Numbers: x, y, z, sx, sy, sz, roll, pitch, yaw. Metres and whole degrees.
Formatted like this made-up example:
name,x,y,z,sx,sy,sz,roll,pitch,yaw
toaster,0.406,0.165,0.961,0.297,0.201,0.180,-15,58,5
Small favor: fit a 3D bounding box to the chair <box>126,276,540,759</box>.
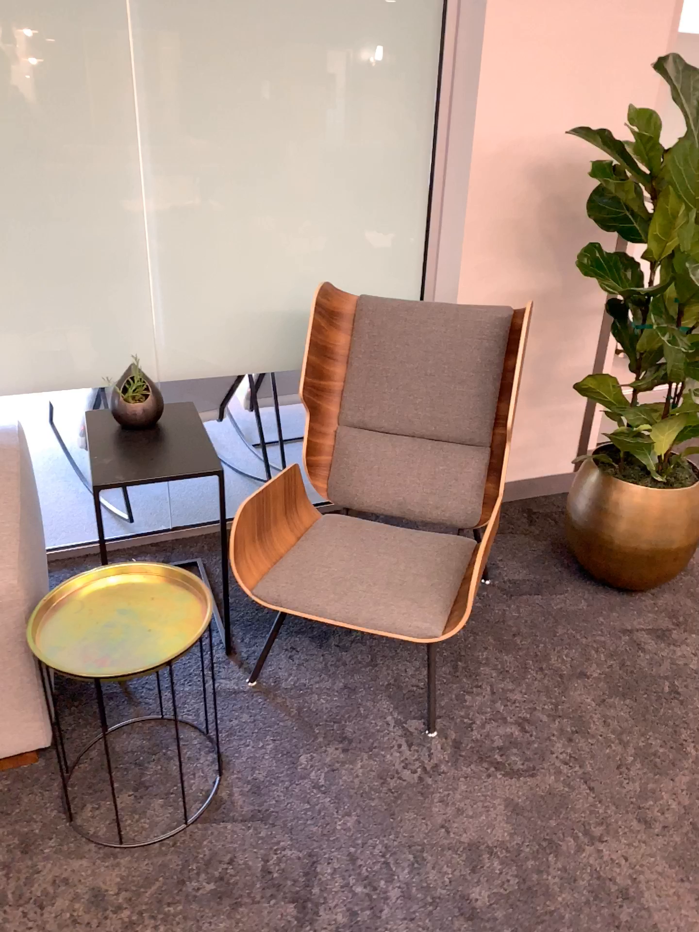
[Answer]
name,x,y,z,sx,sy,sz,roll,pitch,yaw
chair,0.023,0.053,2.161,0.881,0.994,0.934,9,27,15
